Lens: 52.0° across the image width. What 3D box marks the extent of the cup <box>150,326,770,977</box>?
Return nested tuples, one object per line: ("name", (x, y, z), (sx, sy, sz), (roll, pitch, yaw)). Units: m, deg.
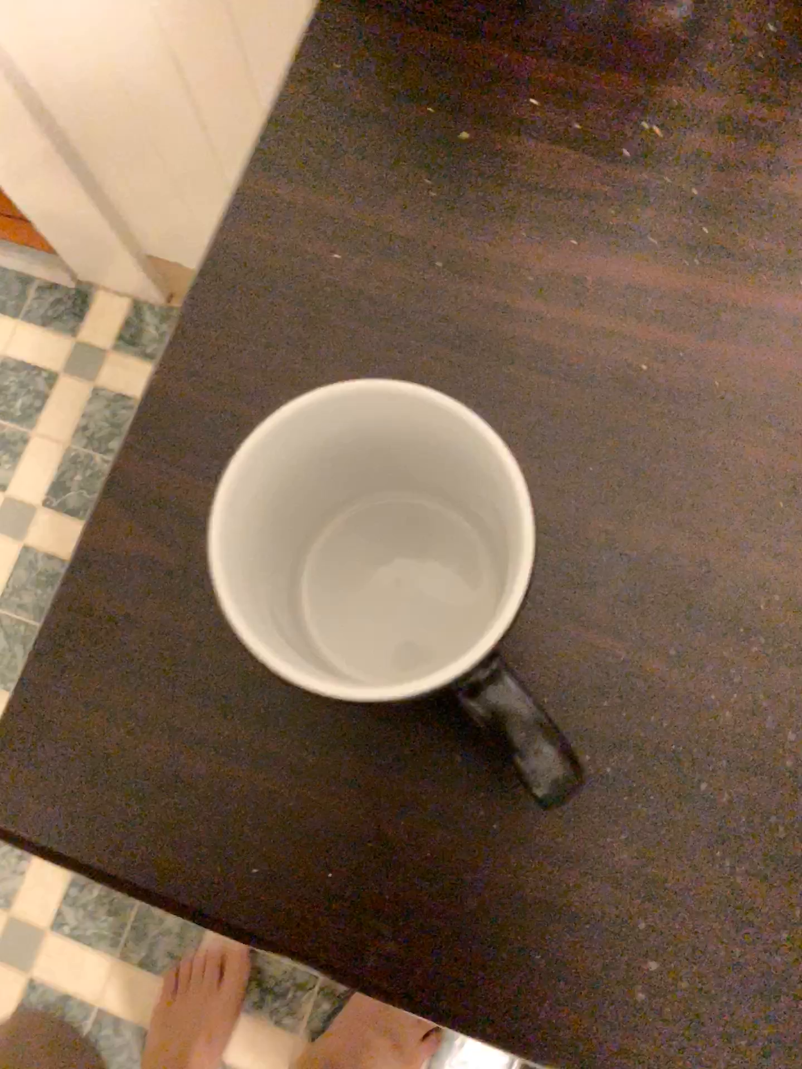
("cup", (0.013, 0.031, 0.241), (0.080, 0.100, 0.130), (-39, 77, -5))
